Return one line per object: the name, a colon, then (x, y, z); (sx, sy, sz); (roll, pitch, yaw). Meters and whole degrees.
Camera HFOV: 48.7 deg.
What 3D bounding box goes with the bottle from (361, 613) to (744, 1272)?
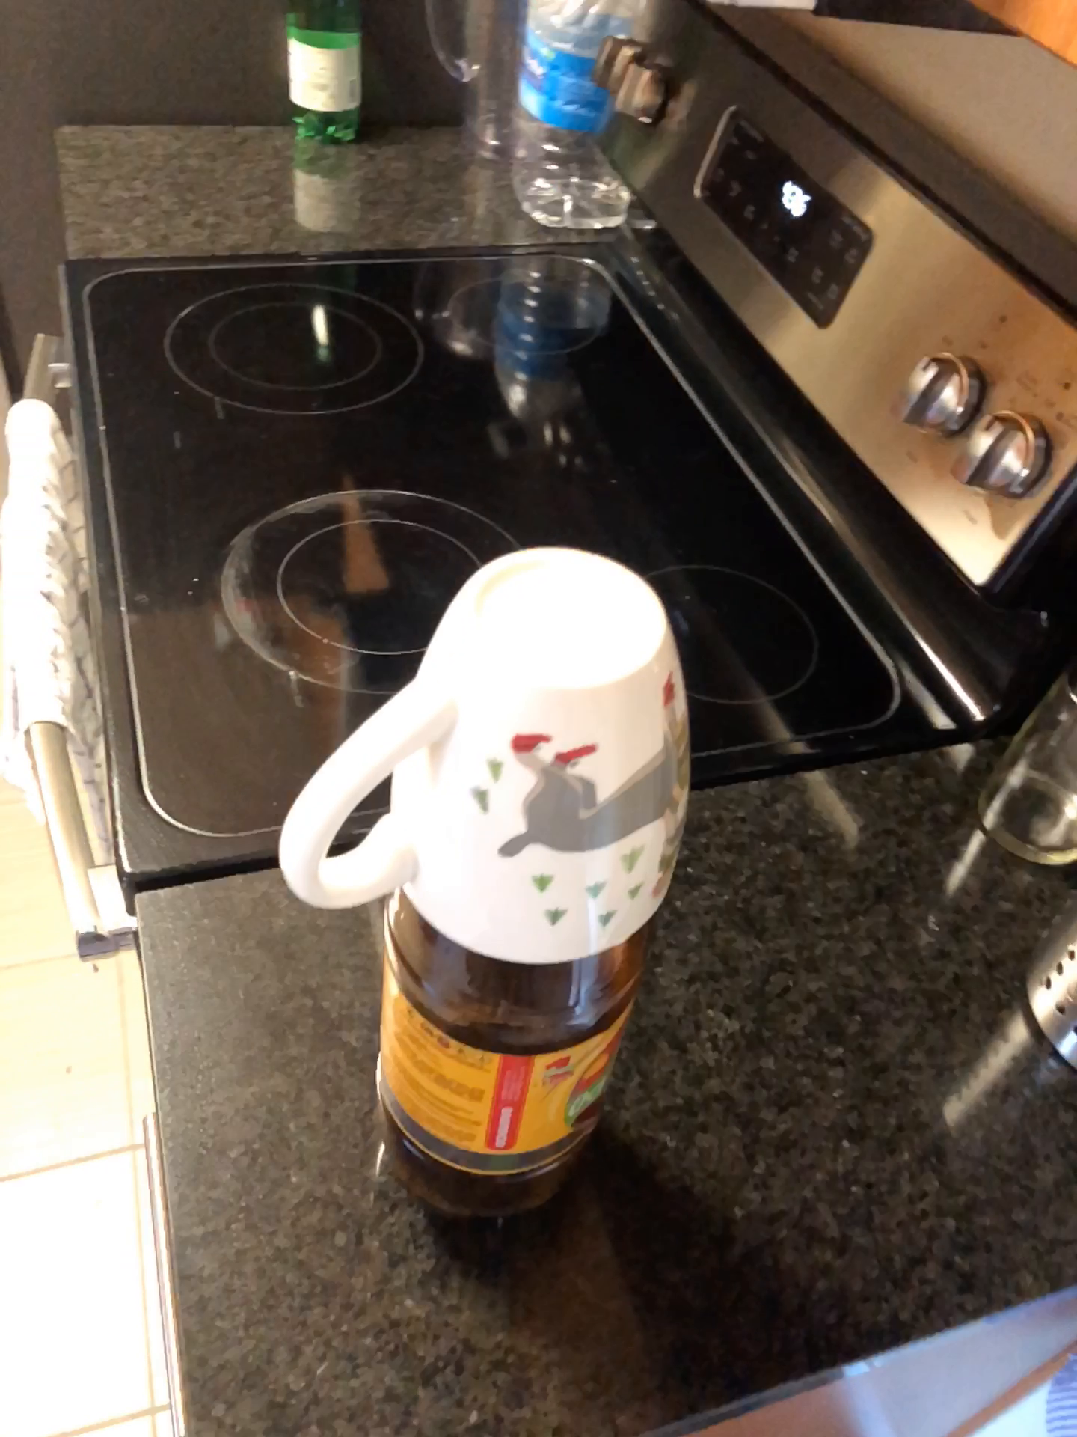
bottle: (-0.005, 0.106, 0.479); (0.100, 0.279, 0.100); (5, 45, -5)
